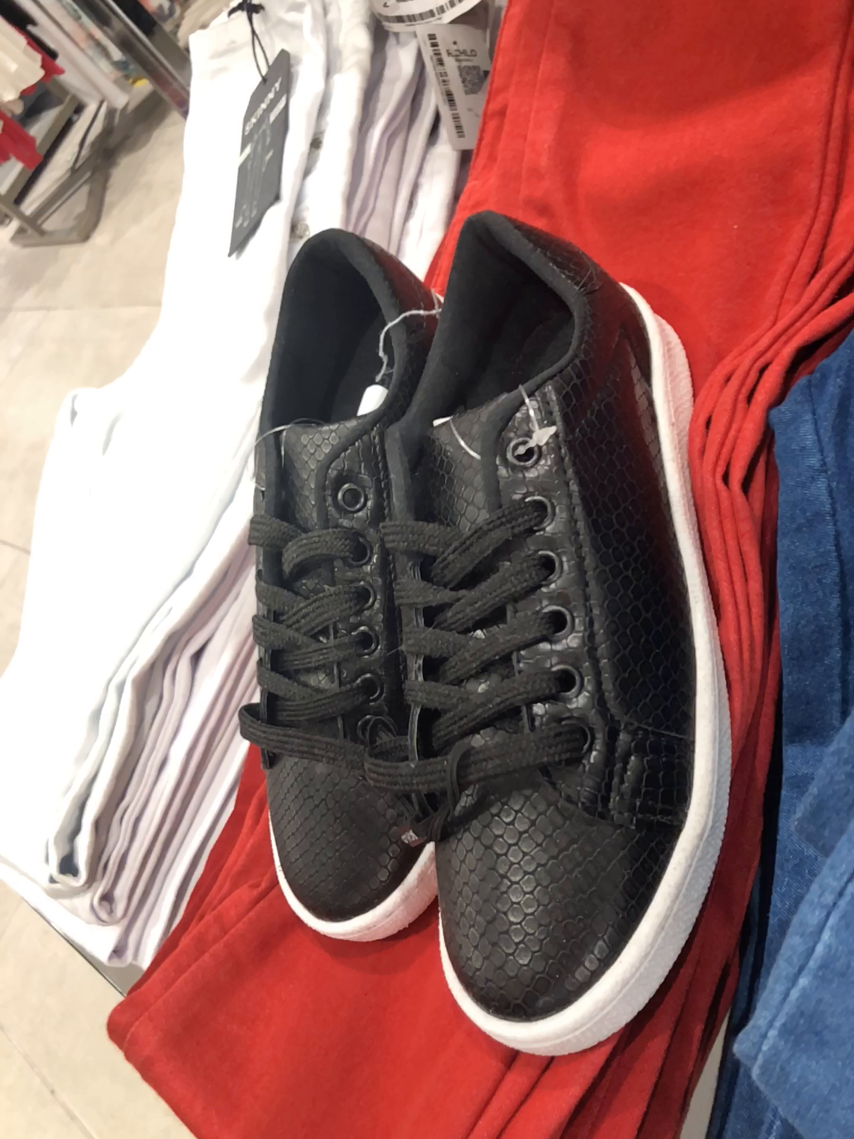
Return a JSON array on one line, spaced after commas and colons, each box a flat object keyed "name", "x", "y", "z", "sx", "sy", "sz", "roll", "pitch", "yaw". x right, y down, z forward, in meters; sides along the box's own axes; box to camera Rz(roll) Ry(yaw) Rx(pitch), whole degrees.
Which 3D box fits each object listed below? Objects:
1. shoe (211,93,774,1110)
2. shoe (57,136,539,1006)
[{"name": "shoe", "x": 0.036, "y": 0.003, "z": 0.274, "sx": 0.090, "sy": 0.099, "sz": 0.251, "roll": -11, "pitch": 56, "yaw": 34}, {"name": "shoe", "x": -0.033, "y": 0.001, "z": 0.328, "sx": 0.090, "sy": 0.099, "sz": 0.250, "roll": -3, "pitch": 73, "yaw": 33}]
